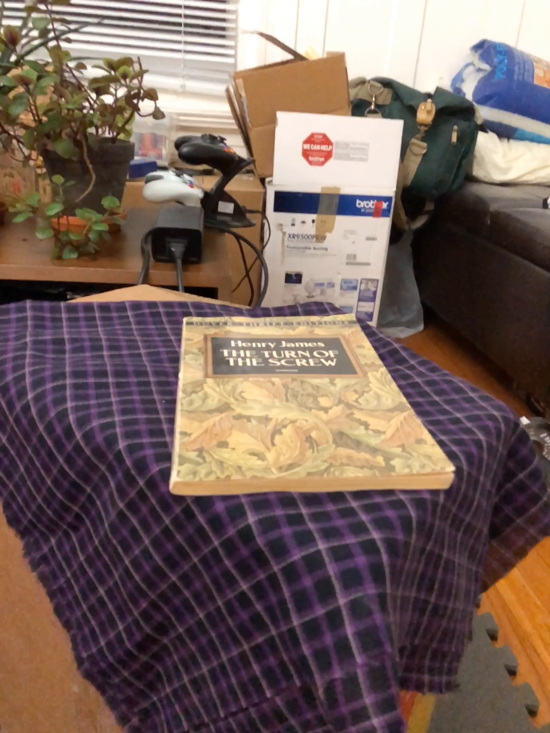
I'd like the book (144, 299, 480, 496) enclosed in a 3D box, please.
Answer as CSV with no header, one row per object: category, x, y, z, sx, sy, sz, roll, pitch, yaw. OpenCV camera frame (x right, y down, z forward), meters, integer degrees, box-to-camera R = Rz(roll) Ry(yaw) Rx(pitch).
book,0.004,0.002,0.349,0.140,0.010,0.221,1,24,-8
